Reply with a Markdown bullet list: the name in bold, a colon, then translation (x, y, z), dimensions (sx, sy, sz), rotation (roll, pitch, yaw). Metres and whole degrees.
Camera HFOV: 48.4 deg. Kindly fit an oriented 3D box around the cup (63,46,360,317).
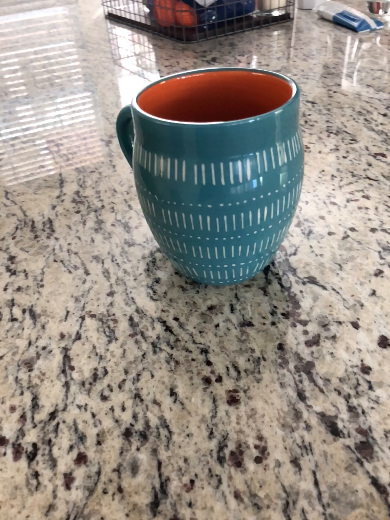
- **cup**: translation (0.003, -0.065, 0.288), dimensions (0.110, 0.099, 0.151), rotation (-25, 43, -23)
